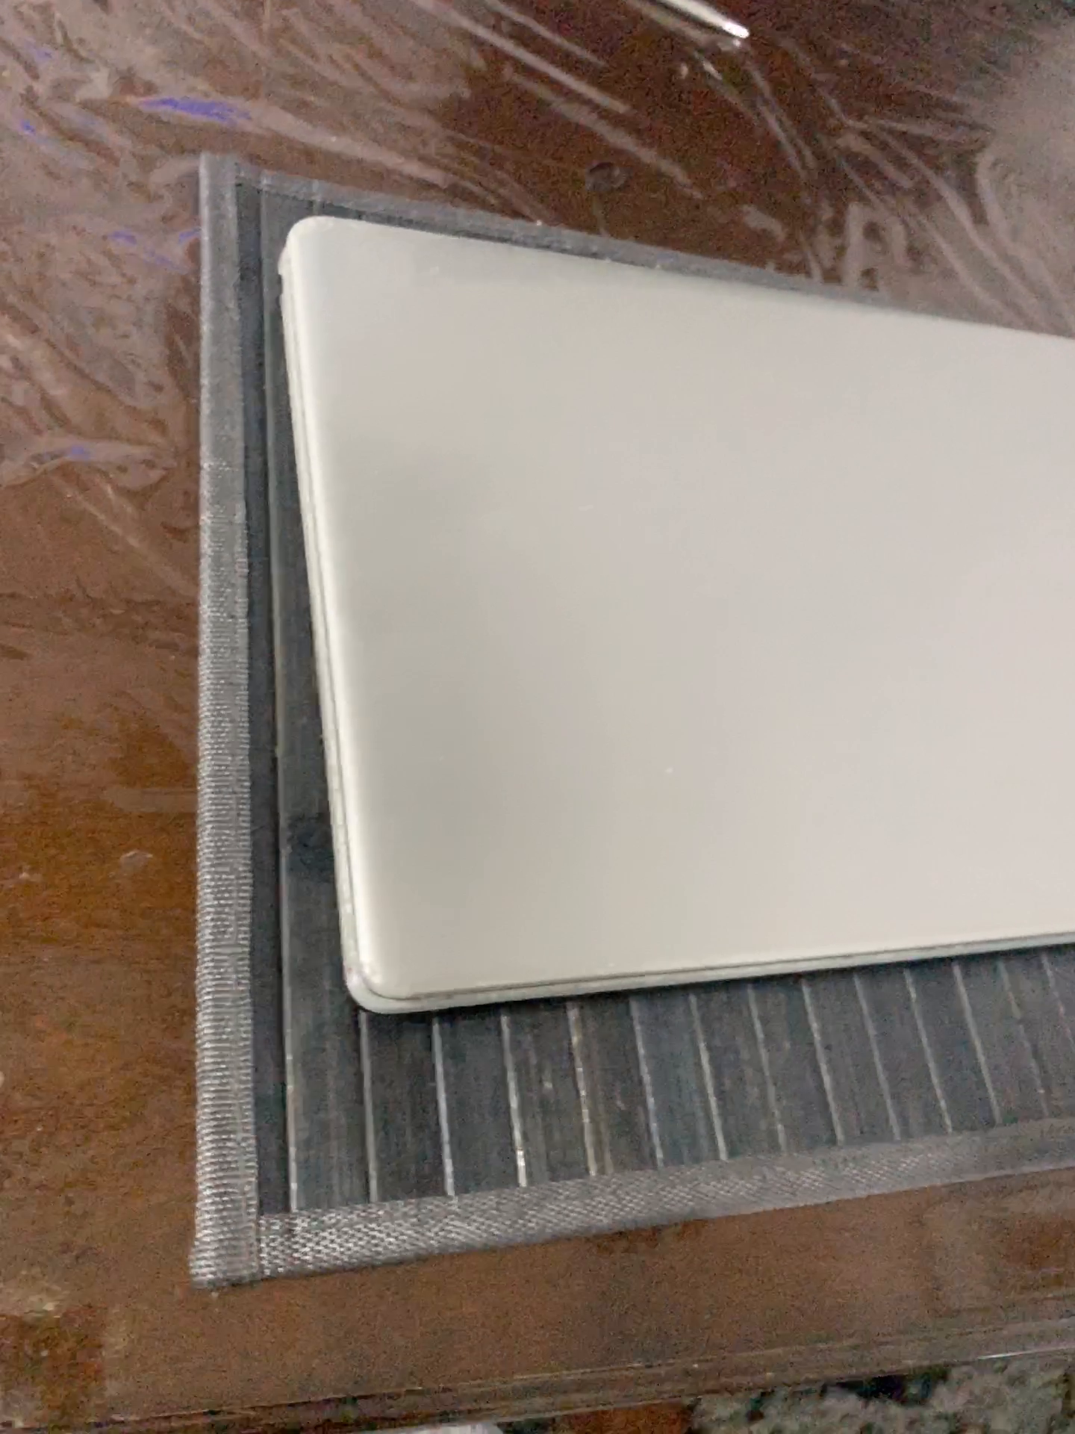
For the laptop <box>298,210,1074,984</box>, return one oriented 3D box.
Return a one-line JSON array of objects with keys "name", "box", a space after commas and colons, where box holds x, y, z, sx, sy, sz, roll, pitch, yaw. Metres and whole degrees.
[{"name": "laptop", "box": [0.104, -0.044, 0.345, 0.336, 0.002, 0.223, 0, 64, -23]}]
